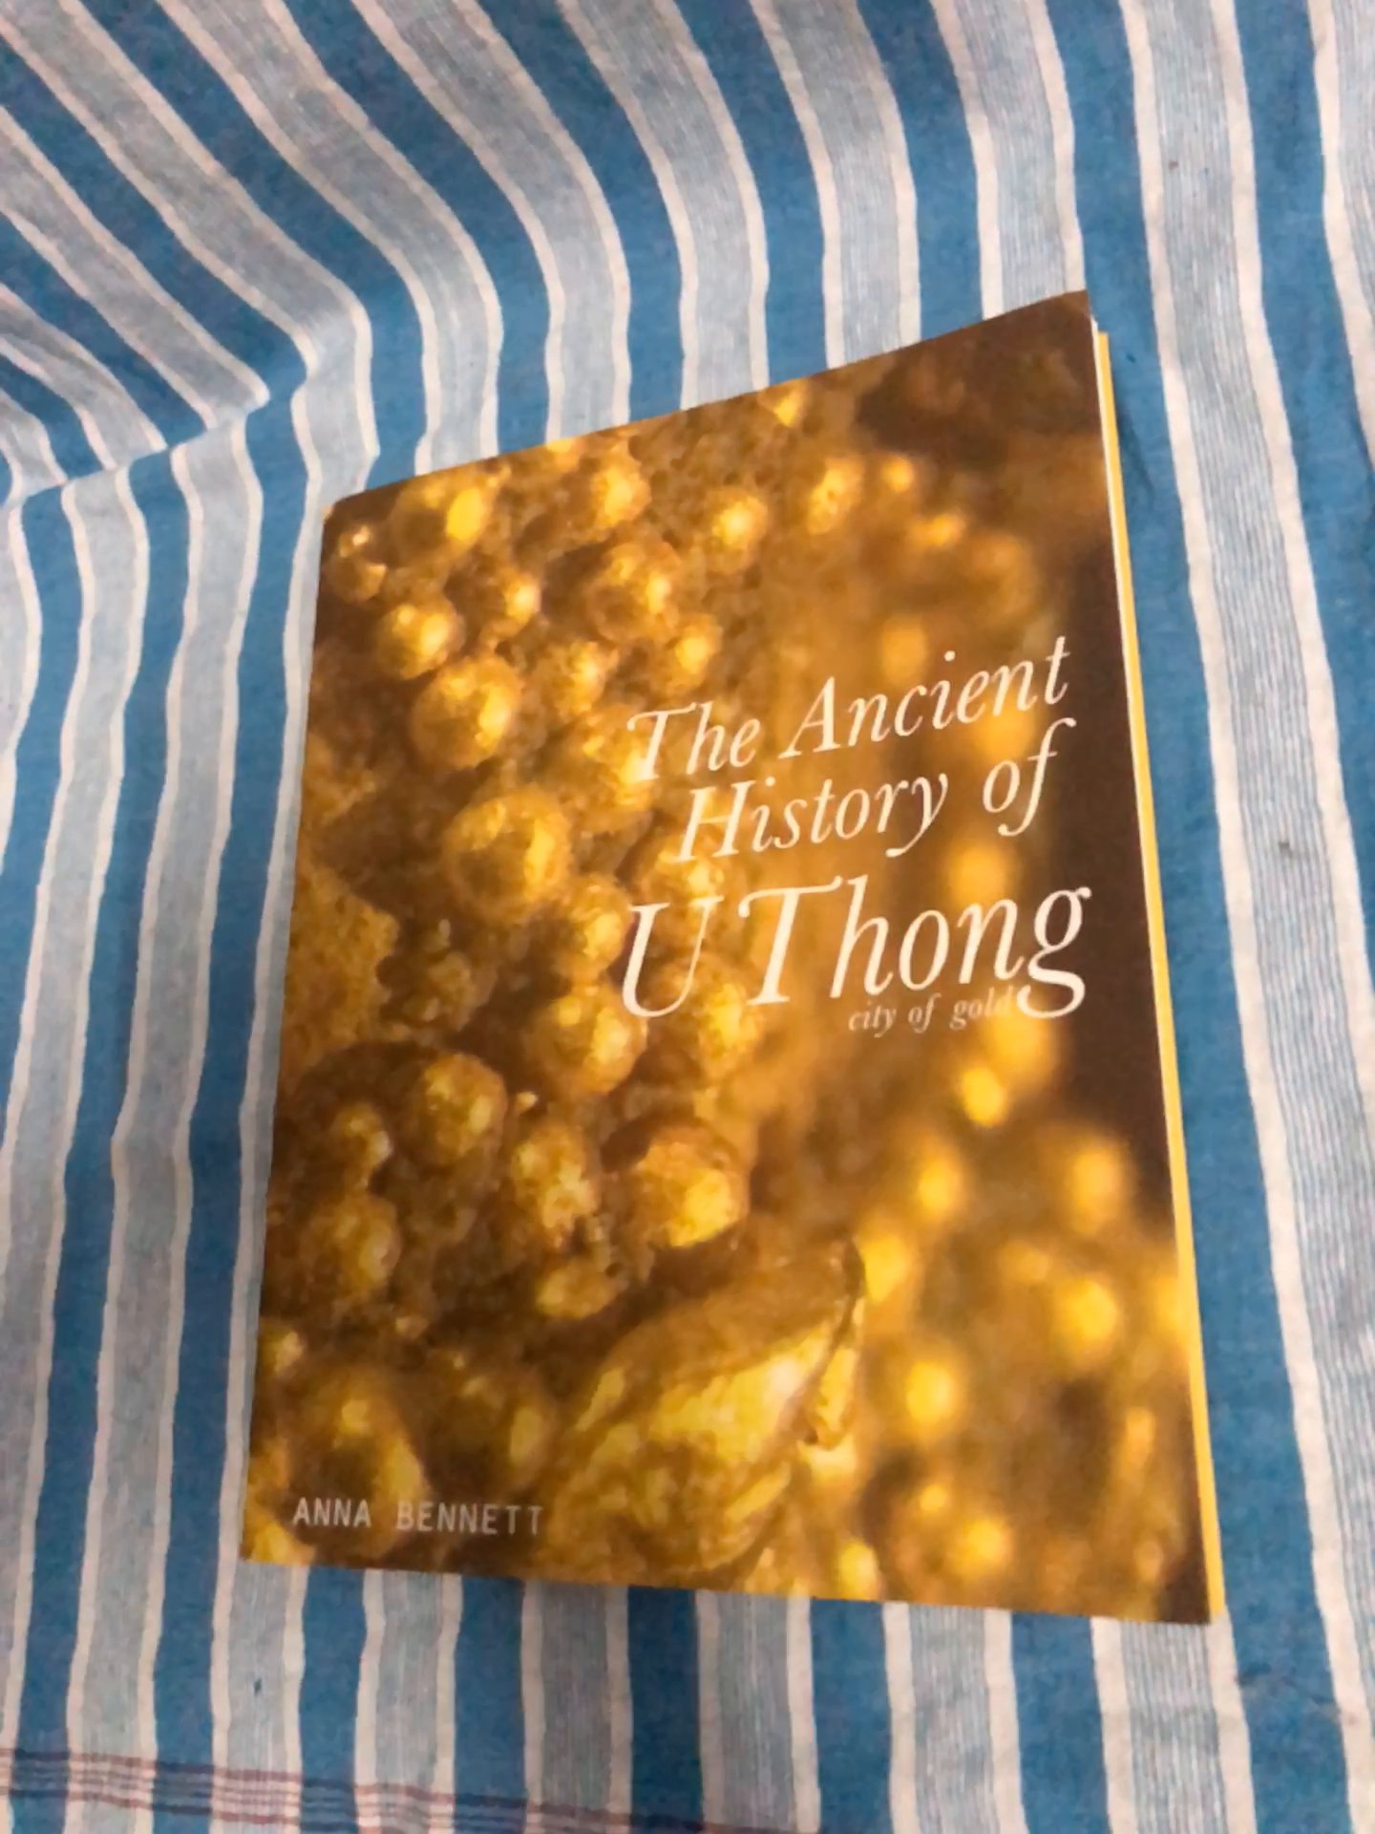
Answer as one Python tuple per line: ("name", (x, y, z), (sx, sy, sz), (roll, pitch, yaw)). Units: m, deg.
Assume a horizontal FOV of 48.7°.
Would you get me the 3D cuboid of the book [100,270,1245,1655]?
("book", (-0.013, 0.008, 0.319), (0.220, 0.030, 0.250), (-7, 73, 21))
